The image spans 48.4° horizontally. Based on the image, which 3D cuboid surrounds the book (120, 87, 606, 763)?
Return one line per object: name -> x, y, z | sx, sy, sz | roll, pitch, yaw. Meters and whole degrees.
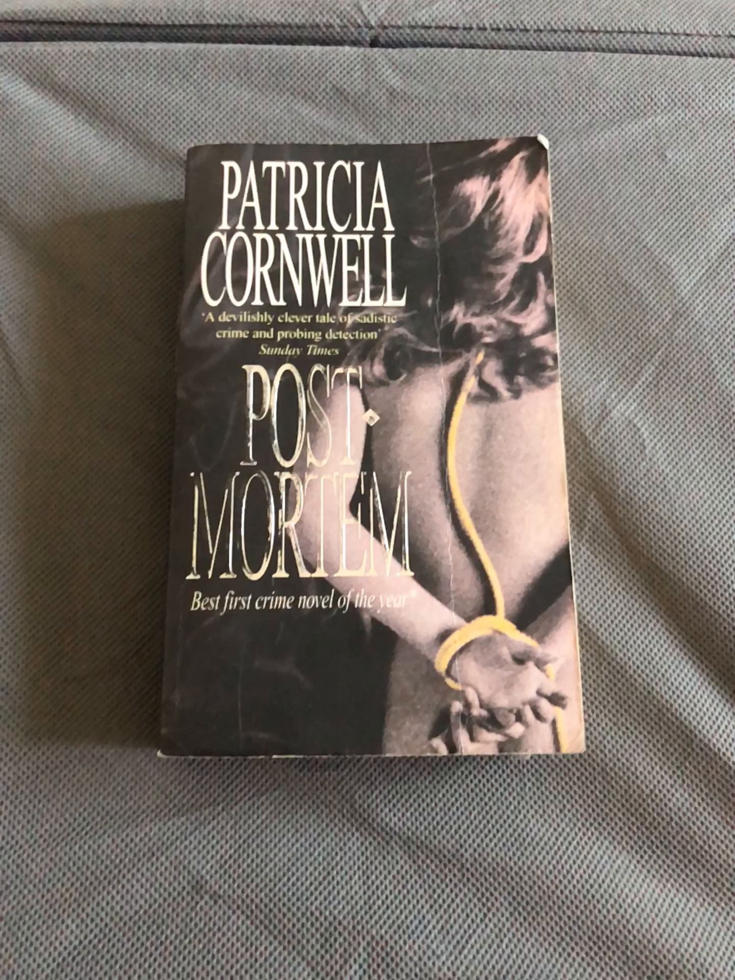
book -> -0.002, -0.020, 0.233 | 0.110, 0.050, 0.180 | 0, 75, -3
